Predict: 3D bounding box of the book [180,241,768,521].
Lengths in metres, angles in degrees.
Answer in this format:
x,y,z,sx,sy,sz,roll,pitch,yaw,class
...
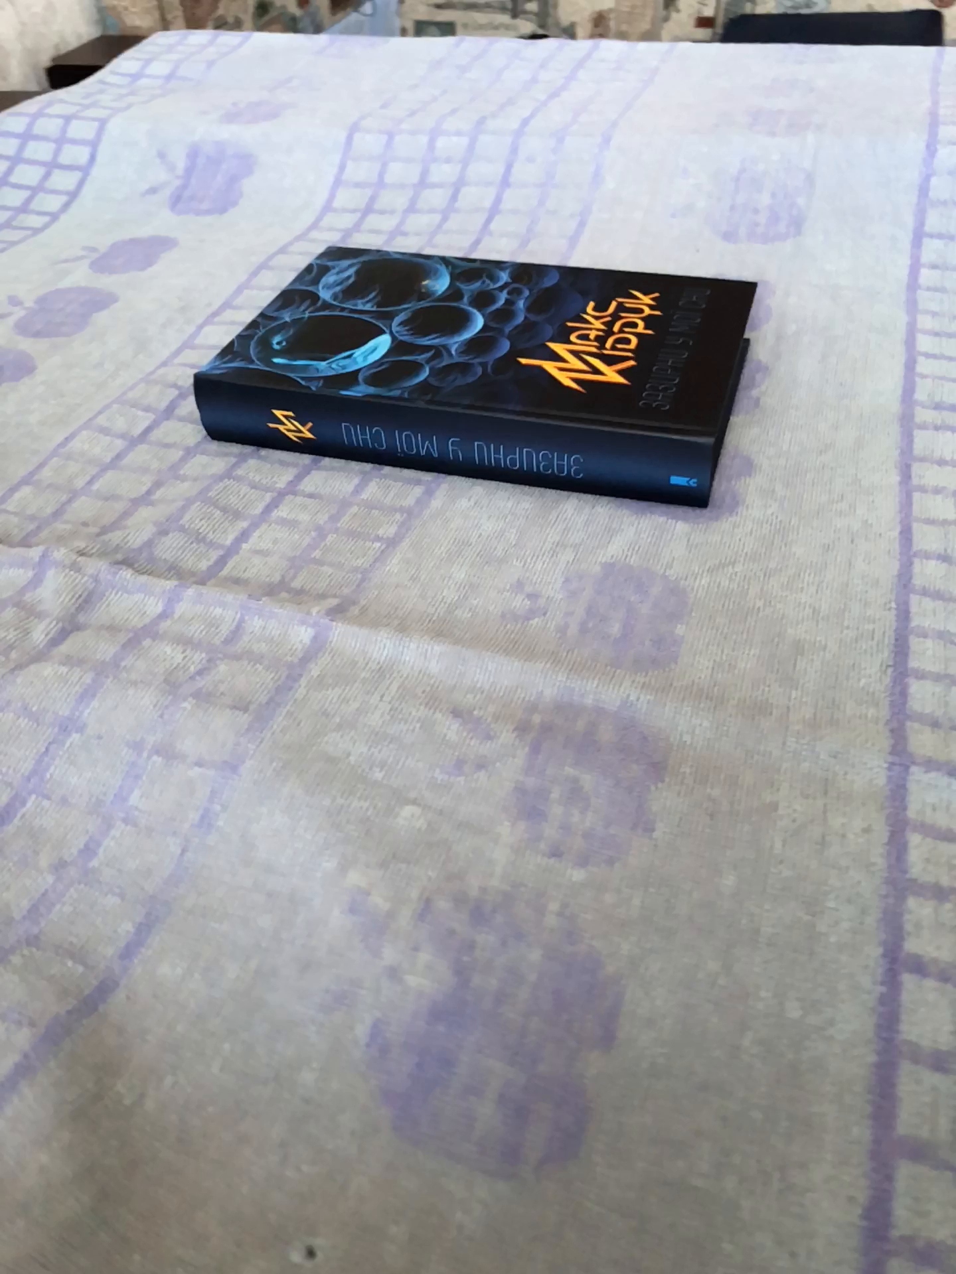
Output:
x,y,z,sx,sy,sz,roll,pitch,yaw,class
0.005,-0.122,0.464,0.220,0.035,0.141,11,43,15,book
